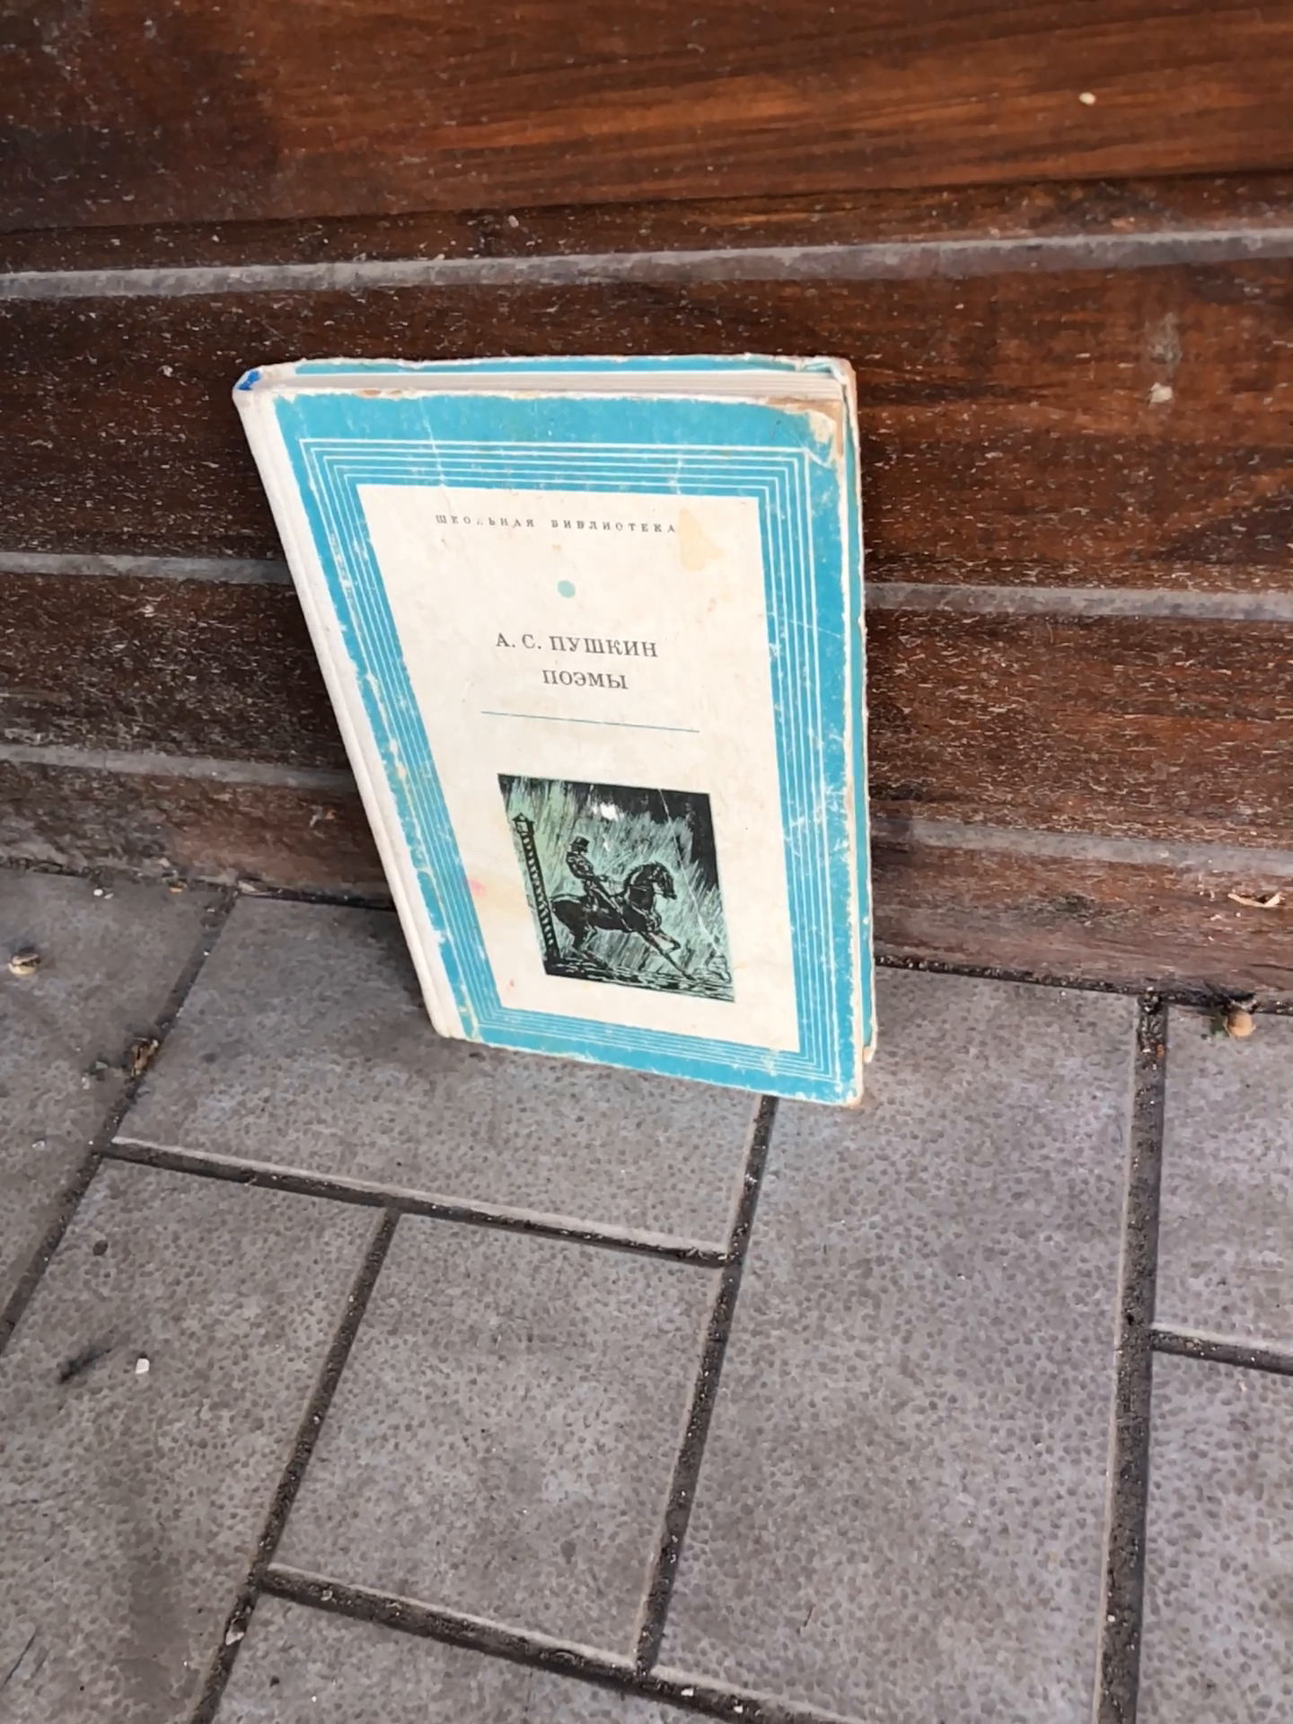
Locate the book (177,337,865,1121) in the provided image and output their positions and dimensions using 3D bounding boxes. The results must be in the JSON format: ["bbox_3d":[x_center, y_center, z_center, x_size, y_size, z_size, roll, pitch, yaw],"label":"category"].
[{"bbox_3d":[-0.017,-0.023,0.337,0.130,0.189,0.030,7,41,18],"label":"book"}]
